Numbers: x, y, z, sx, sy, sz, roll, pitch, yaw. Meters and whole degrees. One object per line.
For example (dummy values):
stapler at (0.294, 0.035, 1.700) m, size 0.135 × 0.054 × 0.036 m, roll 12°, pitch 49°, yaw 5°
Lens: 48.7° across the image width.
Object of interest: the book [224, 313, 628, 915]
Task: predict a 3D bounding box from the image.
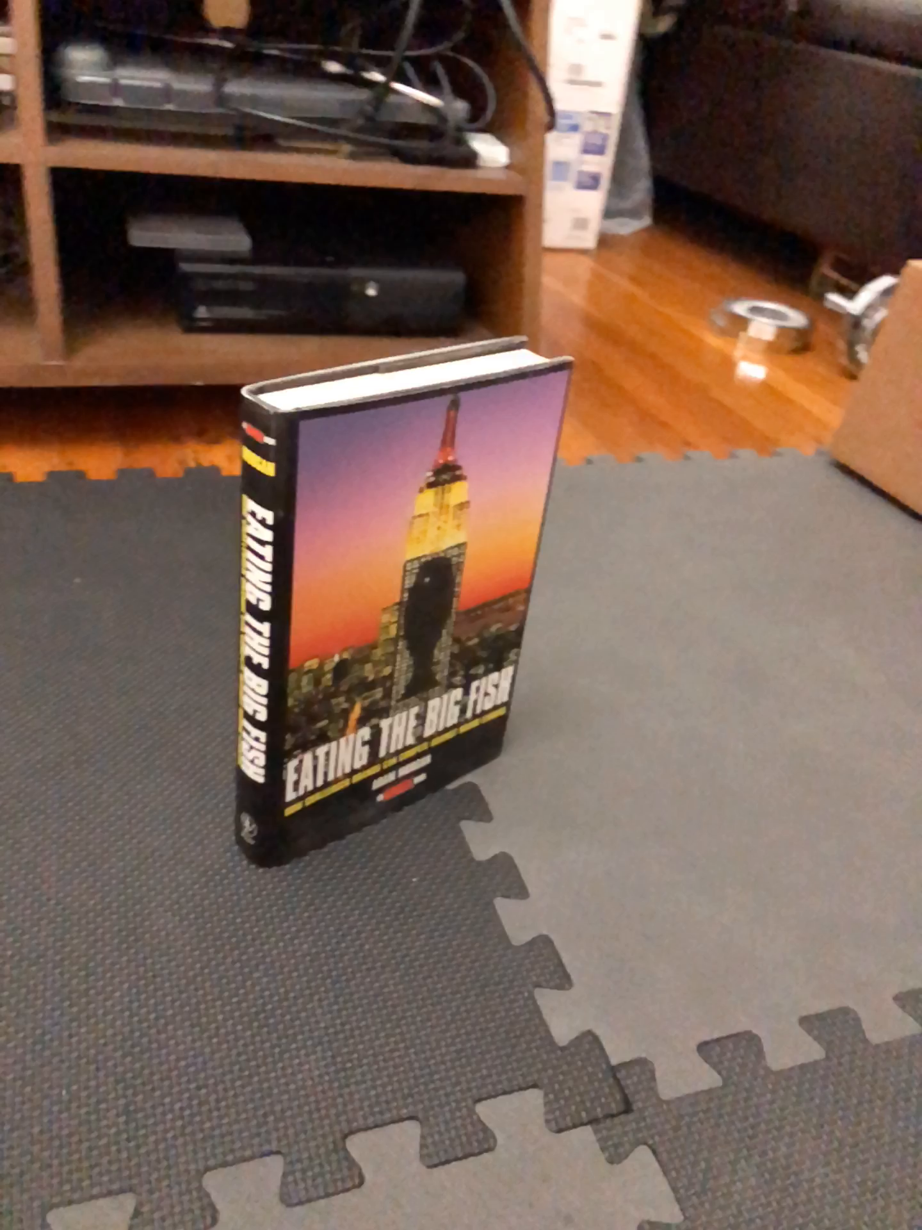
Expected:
book at (-0.023, 0.000, 0.495) m, size 0.181 × 0.258 × 0.050 m, roll -23°, pitch 45°, yaw -39°
